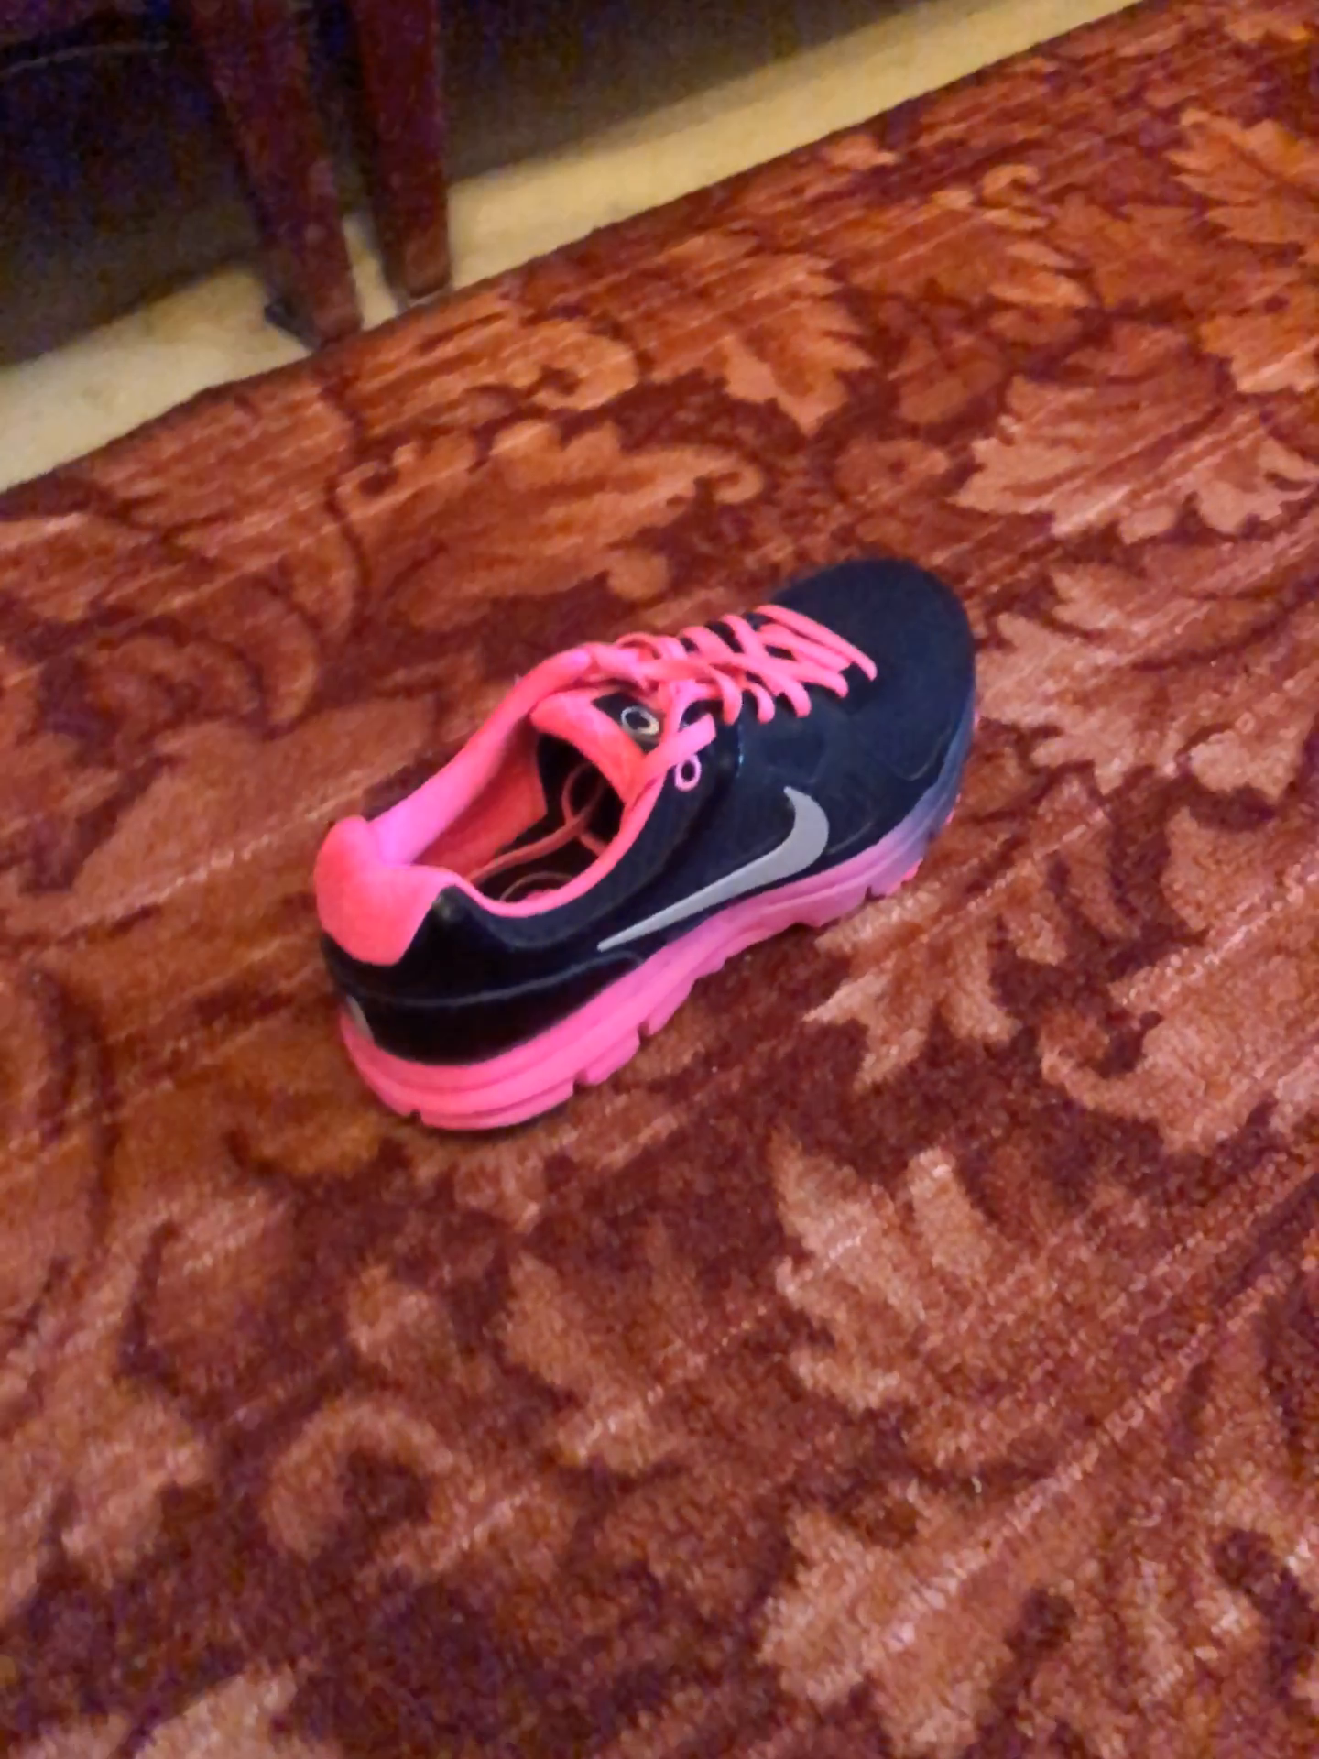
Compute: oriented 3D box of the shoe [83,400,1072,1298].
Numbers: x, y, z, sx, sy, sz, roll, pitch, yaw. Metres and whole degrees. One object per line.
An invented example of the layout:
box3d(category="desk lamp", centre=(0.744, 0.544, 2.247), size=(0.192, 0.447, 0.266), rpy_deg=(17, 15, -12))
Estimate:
box3d(category="shoe", centre=(-0.011, -0.021, 0.422), size=(0.250, 0.100, 0.110), rpy_deg=(-37, 58, -24))
